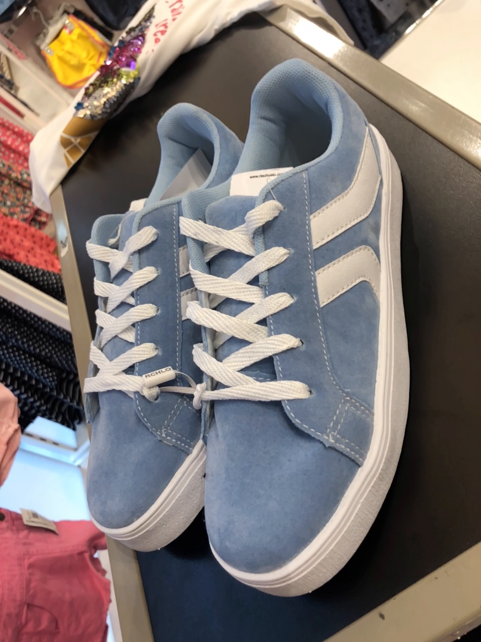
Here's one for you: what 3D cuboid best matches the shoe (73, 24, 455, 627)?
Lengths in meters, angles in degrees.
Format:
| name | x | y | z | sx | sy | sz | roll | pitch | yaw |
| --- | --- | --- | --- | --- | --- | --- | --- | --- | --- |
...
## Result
| name | x | y | z | sx | sy | sz | roll | pitch | yaw |
| --- | --- | --- | --- | --- | --- | --- | --- | --- | --- |
| shoe | 0.032 | 0.002 | 0.269 | 0.100 | 0.119 | 0.240 | -8 | 59 | 38 |

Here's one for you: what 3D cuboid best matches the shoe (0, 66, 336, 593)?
| name | x | y | z | sx | sy | sz | roll | pitch | yaw |
| --- | --- | --- | --- | --- | --- | --- | --- | --- | --- |
| shoe | -0.038 | 0.005 | 0.305 | 0.100 | 0.119 | 0.240 | -5 | 61 | 40 |
